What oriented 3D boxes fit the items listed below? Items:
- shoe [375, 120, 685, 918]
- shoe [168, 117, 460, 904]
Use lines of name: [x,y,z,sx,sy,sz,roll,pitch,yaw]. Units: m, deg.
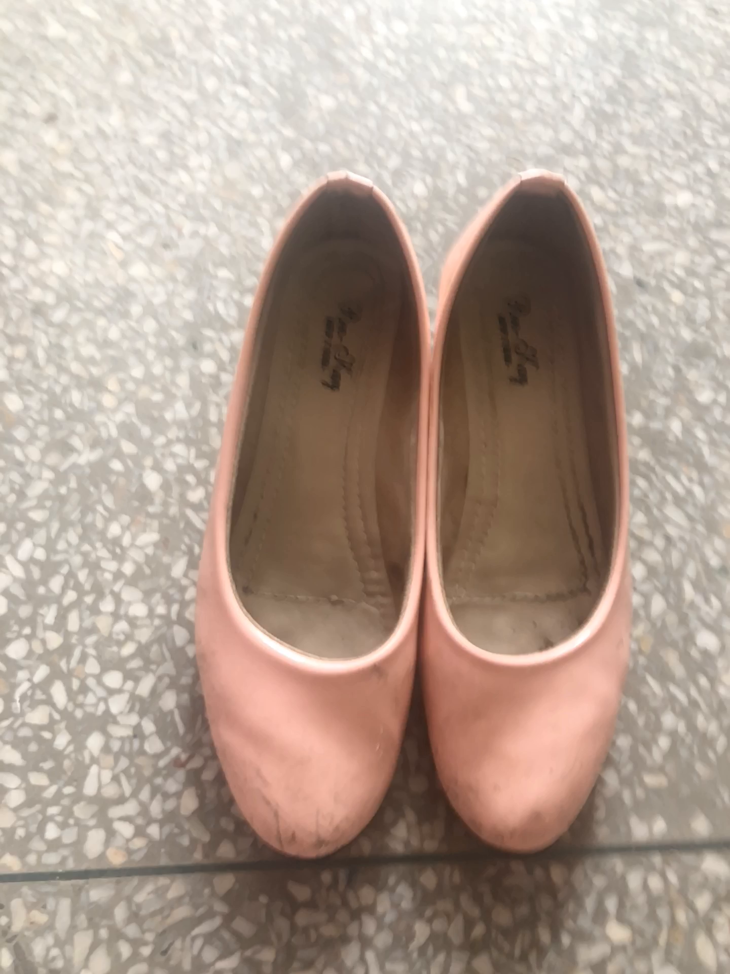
shoe: [0.052,0.006,0.299,0.090,0.070,0.260,1,79,-1]
shoe: [-0.016,0.007,0.306,0.090,0.070,0.260,1,87,-1]
